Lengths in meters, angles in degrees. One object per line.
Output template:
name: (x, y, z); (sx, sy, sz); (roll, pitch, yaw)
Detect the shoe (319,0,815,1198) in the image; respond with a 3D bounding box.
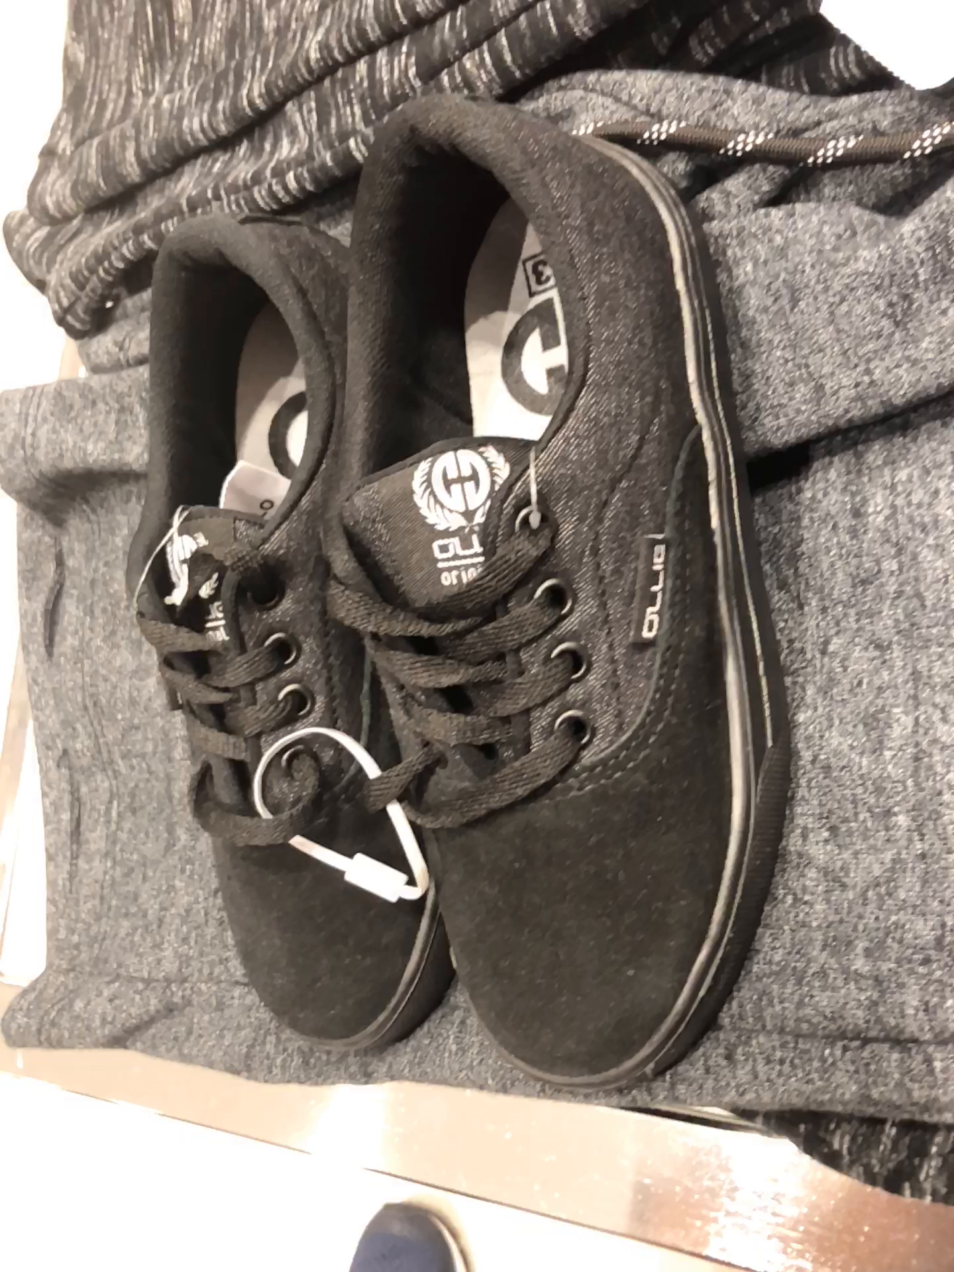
shoe: (0.022, -0.014, 0.258); (0.090, 0.080, 0.240); (-4, 84, 28)

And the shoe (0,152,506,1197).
shoe: (-0.056, 0.007, 0.281); (0.090, 0.080, 0.220); (1, 86, 29)
